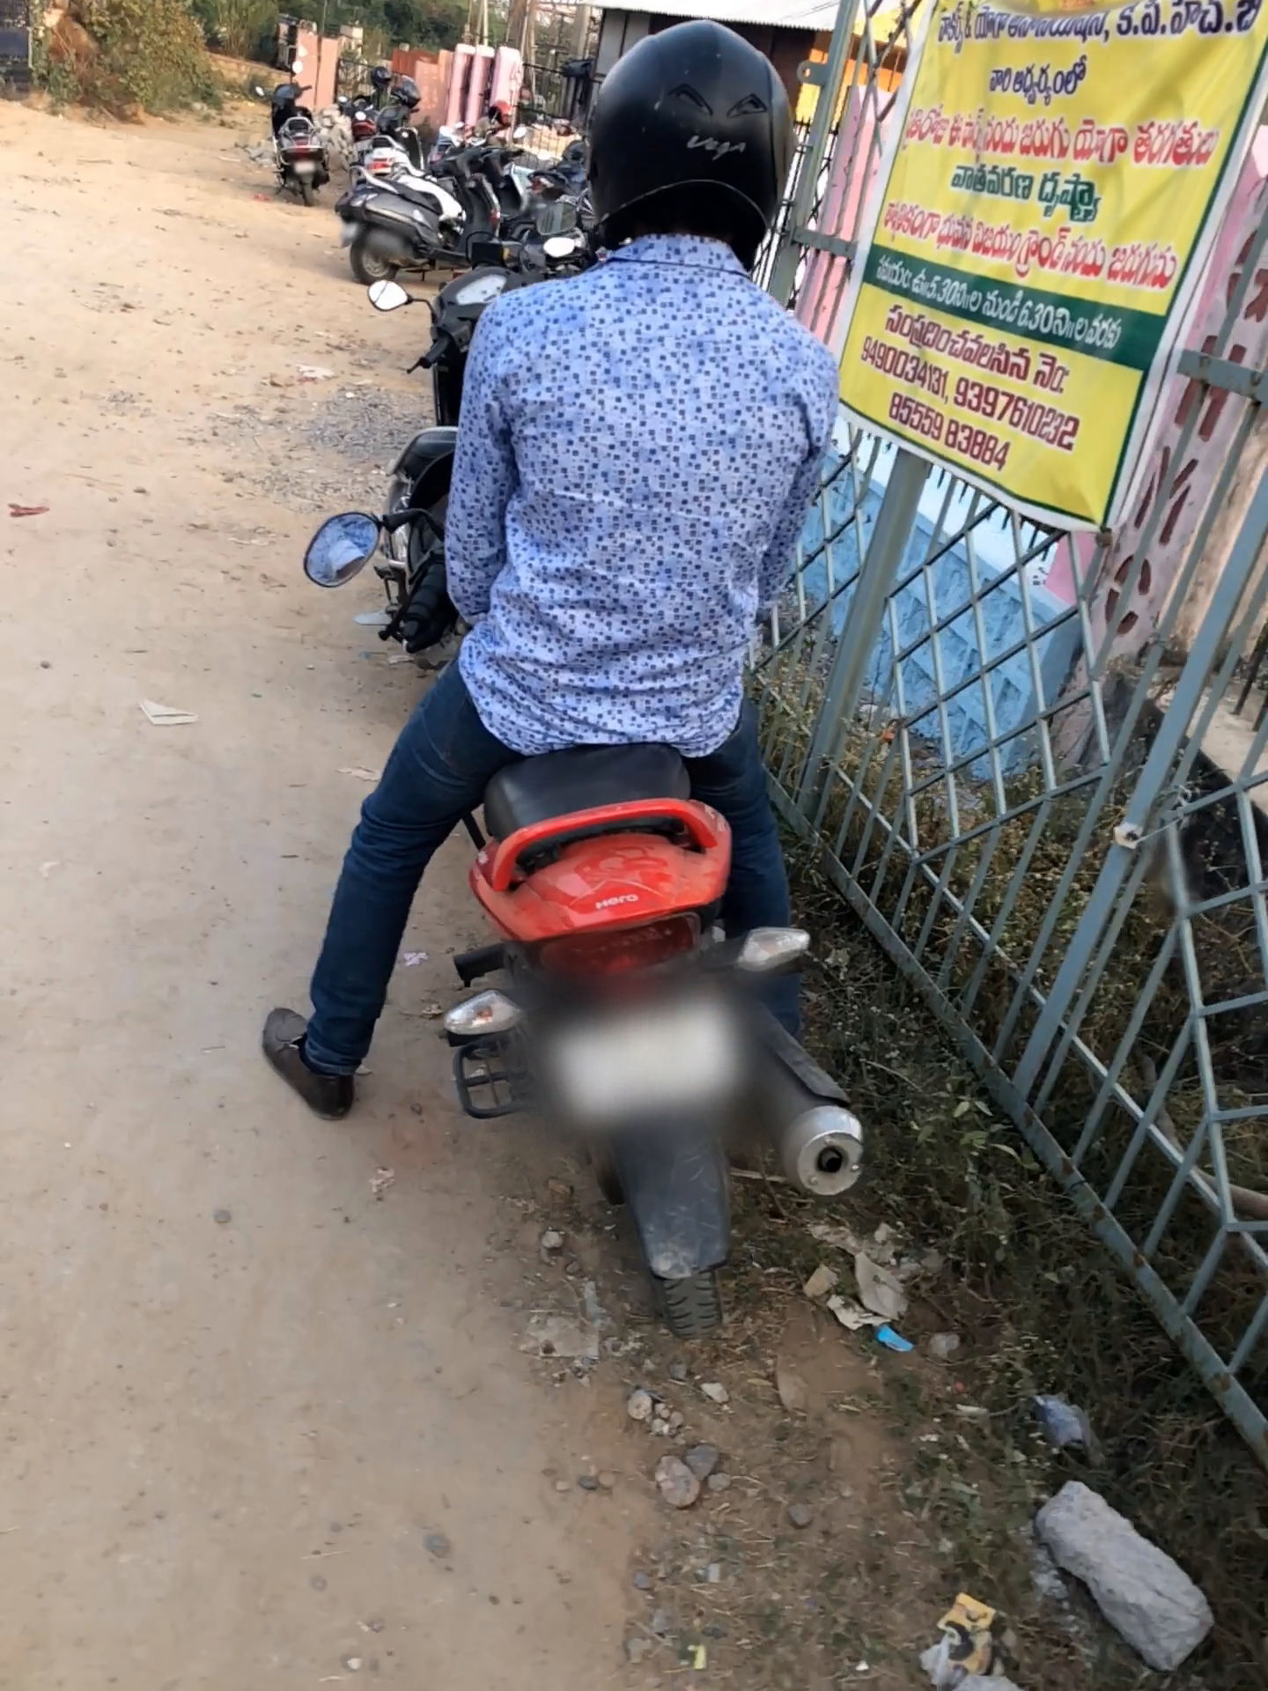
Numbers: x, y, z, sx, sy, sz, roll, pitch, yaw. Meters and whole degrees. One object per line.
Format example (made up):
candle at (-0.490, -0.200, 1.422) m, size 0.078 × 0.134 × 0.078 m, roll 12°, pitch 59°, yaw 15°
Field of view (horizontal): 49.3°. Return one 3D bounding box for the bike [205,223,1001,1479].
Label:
bike at (-0.295, -0.158, 2.205) m, size 0.582 × 1.176 × 1.697 m, roll 2°, pitch 30°, yaw -21°
